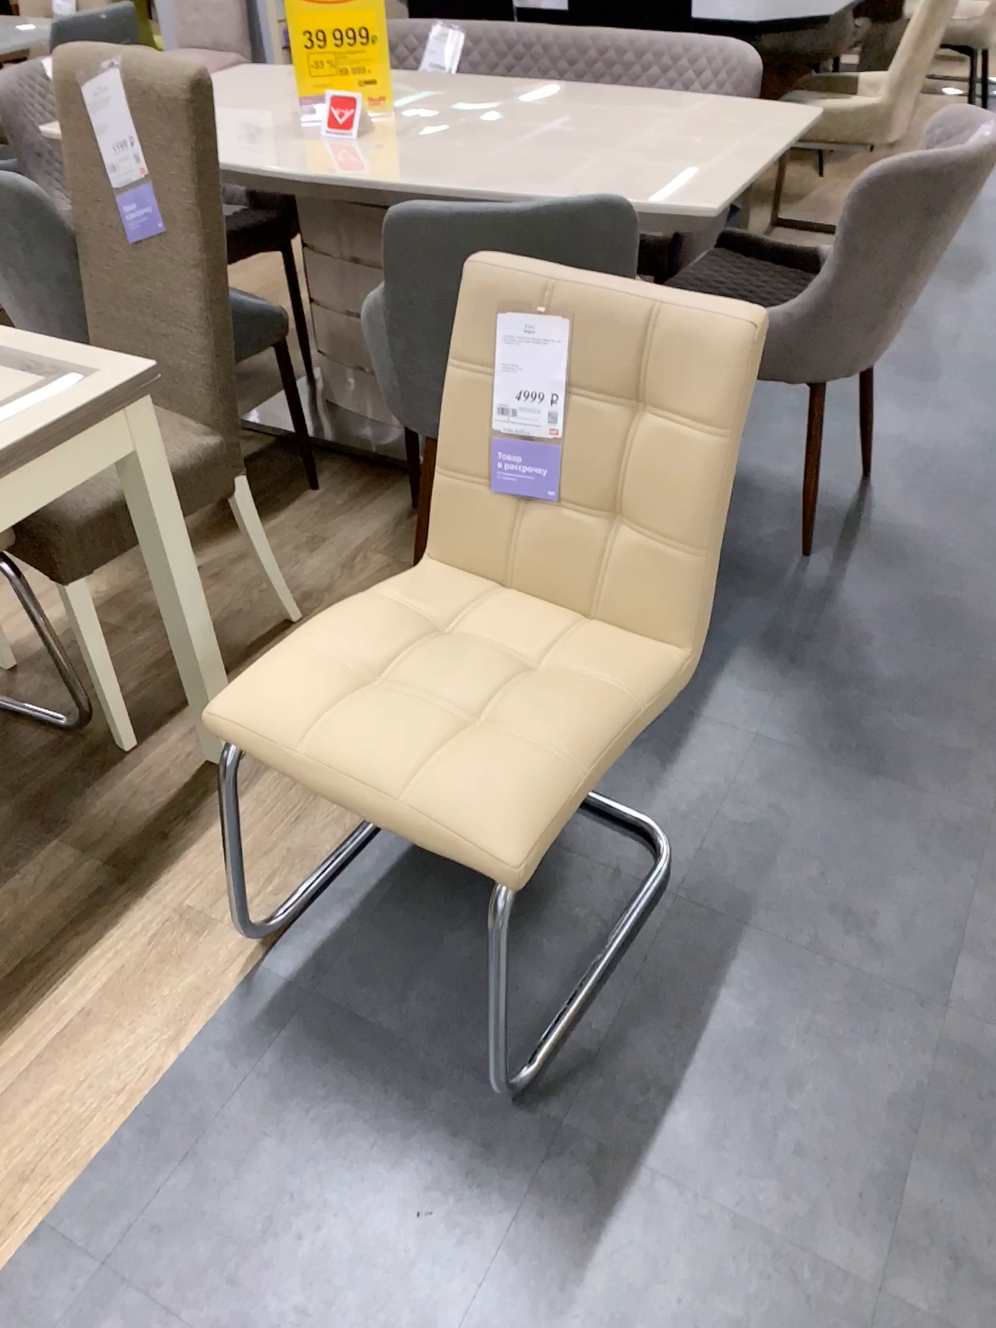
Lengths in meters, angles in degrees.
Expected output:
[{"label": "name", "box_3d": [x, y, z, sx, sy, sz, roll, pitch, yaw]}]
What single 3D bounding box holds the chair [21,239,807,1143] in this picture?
[{"label": "chair", "box_3d": [-0.040, 0.003, 1.314, 0.531, 0.815, 0.653, 22, 45, 27]}]
